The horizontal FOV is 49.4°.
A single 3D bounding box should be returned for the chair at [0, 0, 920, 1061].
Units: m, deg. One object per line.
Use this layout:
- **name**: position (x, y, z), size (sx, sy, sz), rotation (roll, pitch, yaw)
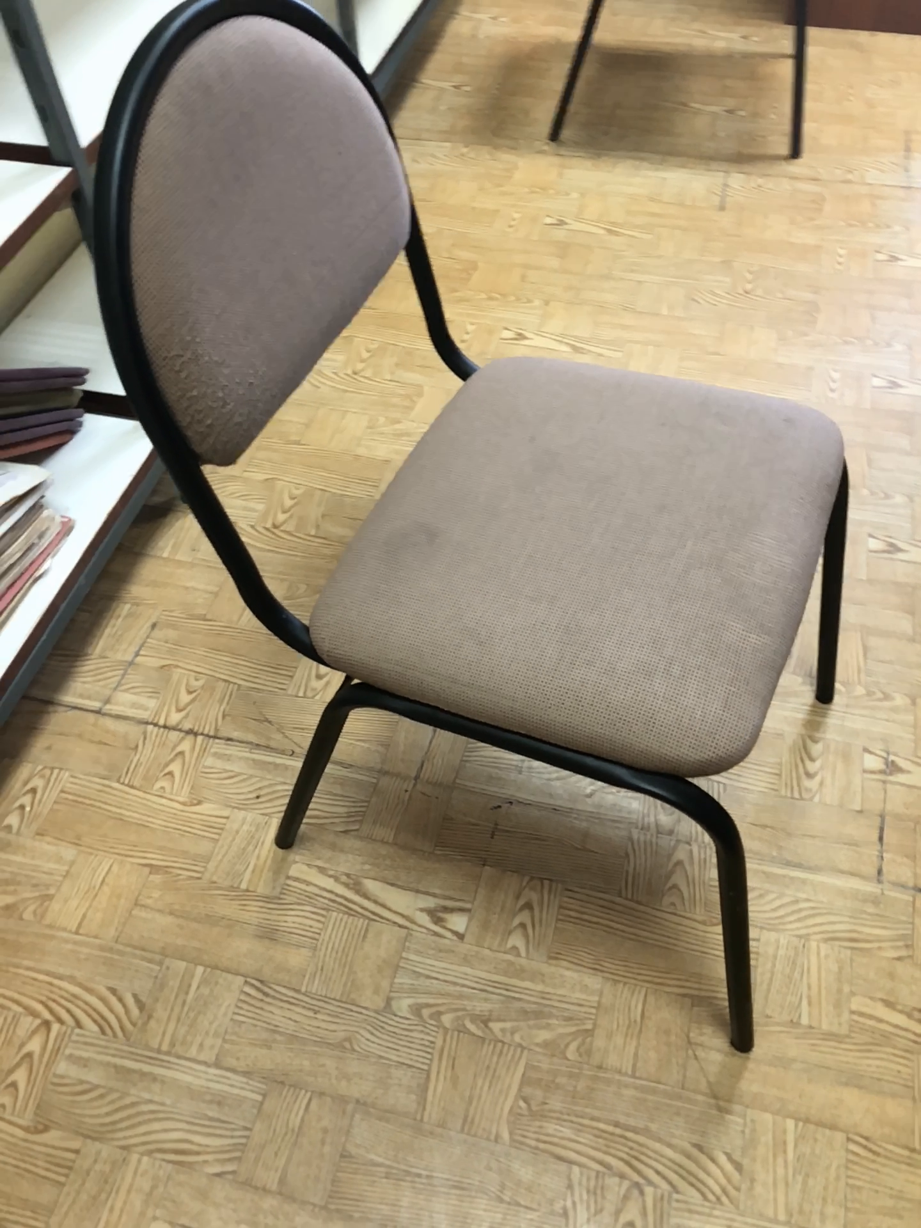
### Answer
- **chair**: position (0.088, -0.073, 0.860), size (0.573, 0.768, 0.481), rotation (18, 55, 16)
